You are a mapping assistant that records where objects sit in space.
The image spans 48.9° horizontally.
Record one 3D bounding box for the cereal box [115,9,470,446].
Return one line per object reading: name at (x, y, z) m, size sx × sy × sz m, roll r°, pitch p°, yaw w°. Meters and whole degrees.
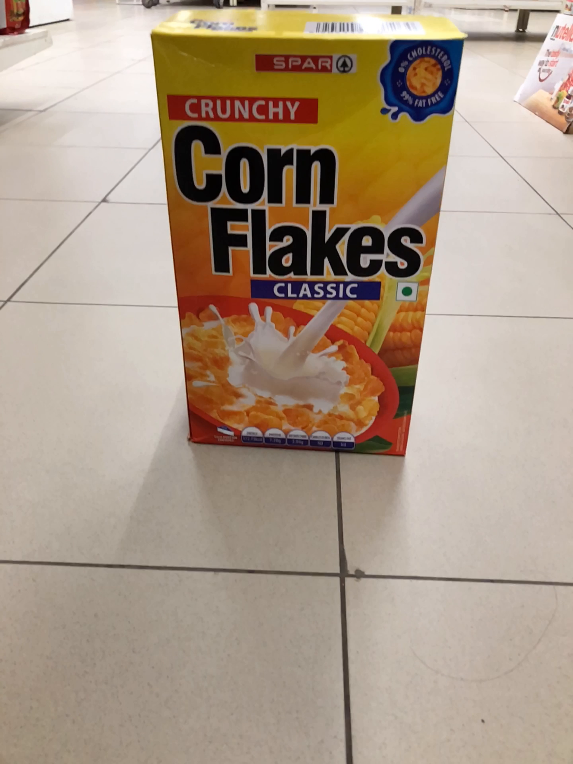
cereal box at (0.004, -0.106, 0.477) m, size 0.200 × 0.298 × 0.101 m, roll 2°, pitch 32°, yaw 2°
